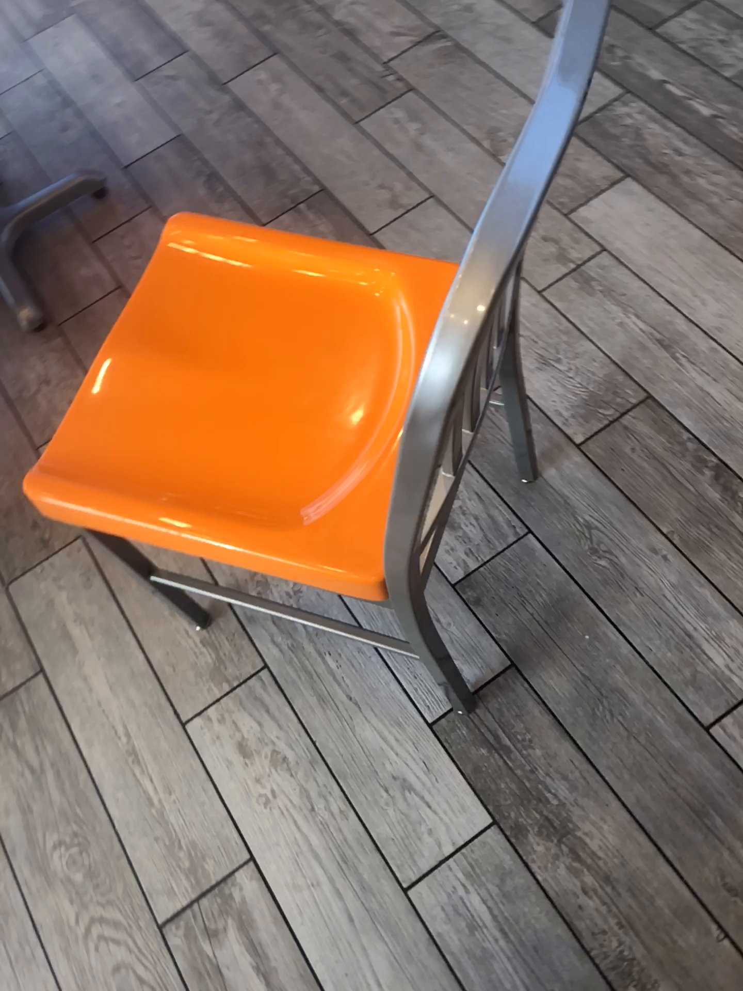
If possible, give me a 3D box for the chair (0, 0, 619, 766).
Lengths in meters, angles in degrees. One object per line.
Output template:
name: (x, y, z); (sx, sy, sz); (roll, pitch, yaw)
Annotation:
chair: (-0.099, -0.100, 0.829); (0.510, 0.819, 0.470); (13, 67, 17)
